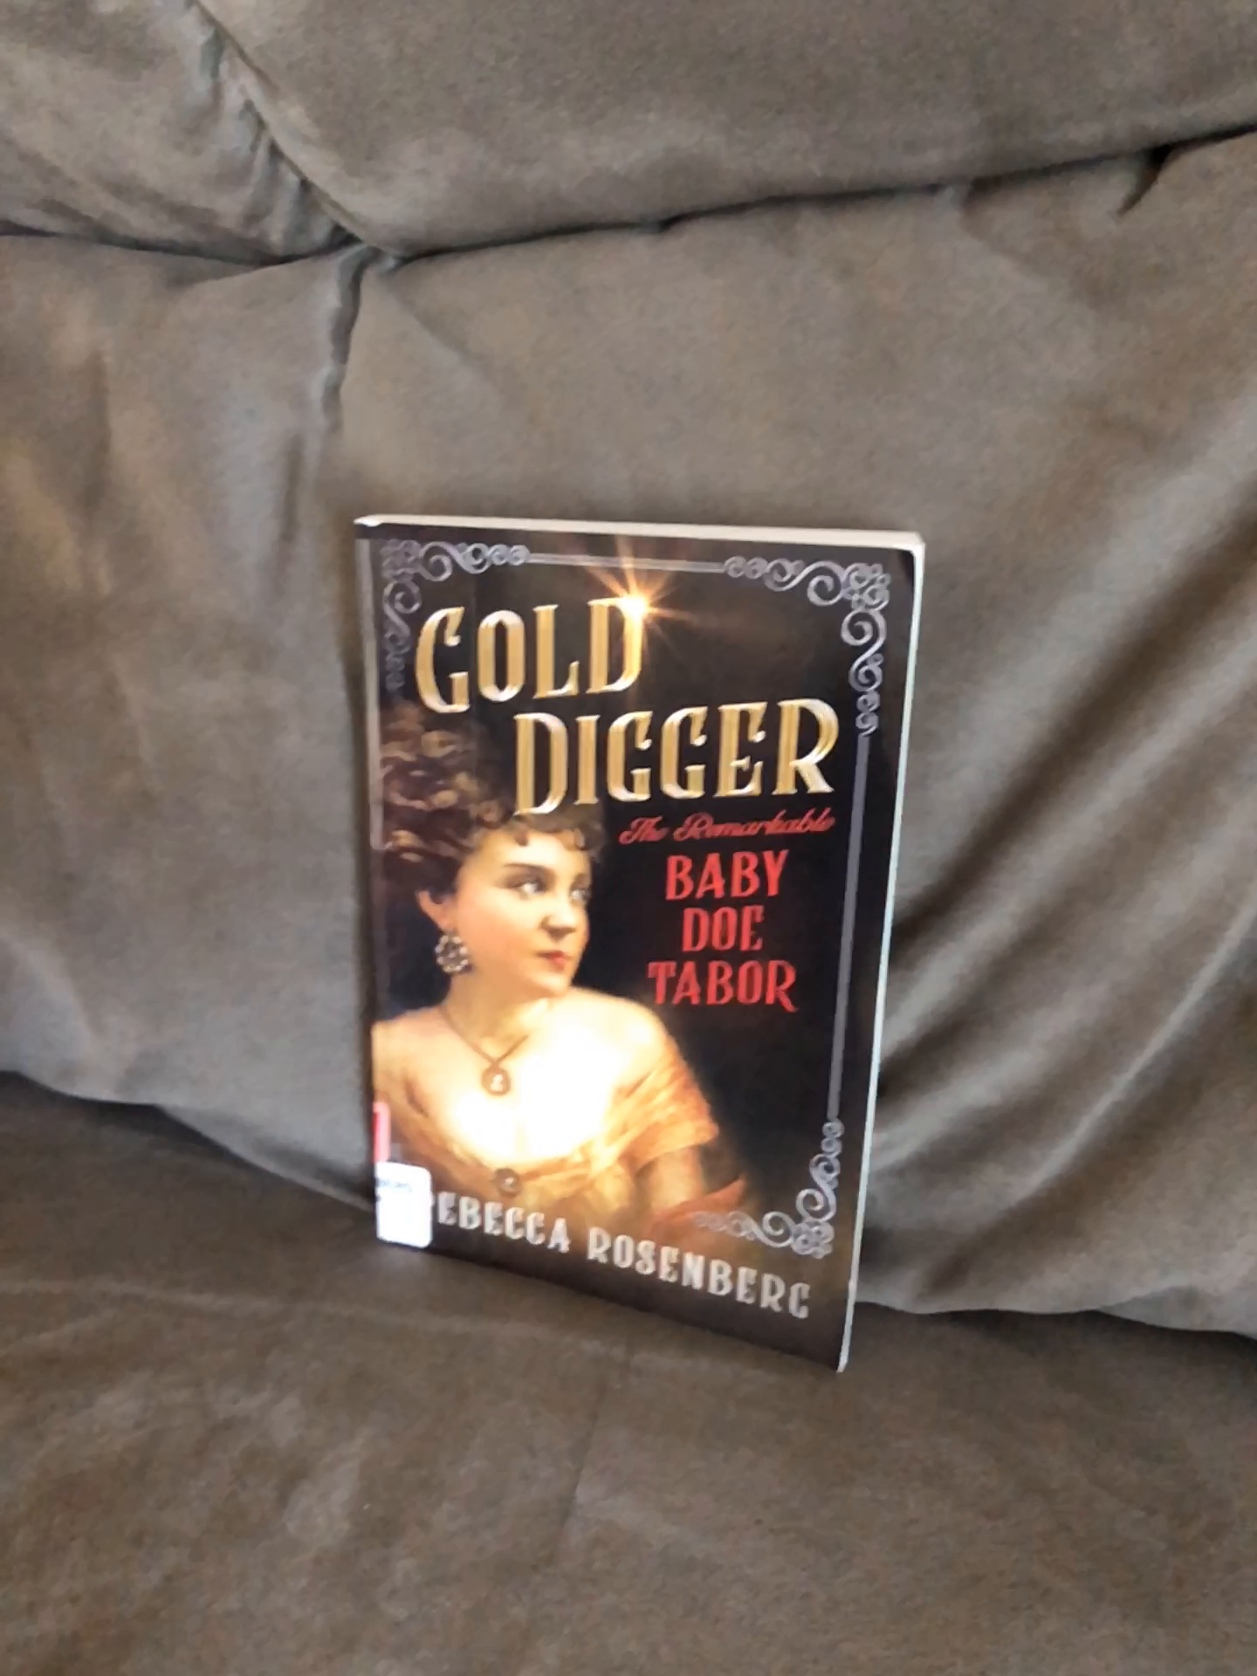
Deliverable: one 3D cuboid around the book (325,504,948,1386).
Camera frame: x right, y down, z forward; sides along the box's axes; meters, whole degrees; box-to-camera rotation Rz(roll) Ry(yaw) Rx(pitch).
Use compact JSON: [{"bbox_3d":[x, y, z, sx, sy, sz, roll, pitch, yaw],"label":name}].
[{"bbox_3d":[-0.006,0.021,0.355,0.150,0.200,0.030,8,14,24],"label":"book"}]
